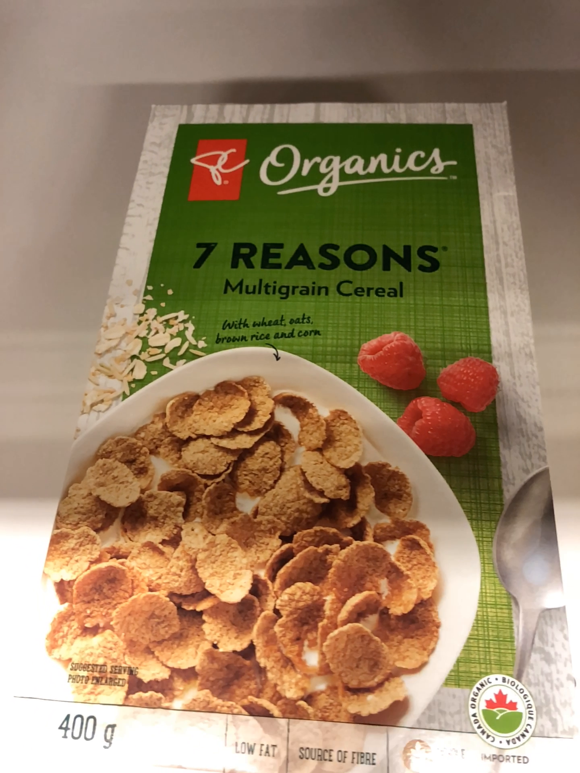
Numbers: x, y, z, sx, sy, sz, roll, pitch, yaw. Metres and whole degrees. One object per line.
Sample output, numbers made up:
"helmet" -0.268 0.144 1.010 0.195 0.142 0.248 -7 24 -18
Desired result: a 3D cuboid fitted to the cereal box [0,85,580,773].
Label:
"cereal box" 0.005 0.001 0.243 0.180 0.060 0.260 2 63 5
